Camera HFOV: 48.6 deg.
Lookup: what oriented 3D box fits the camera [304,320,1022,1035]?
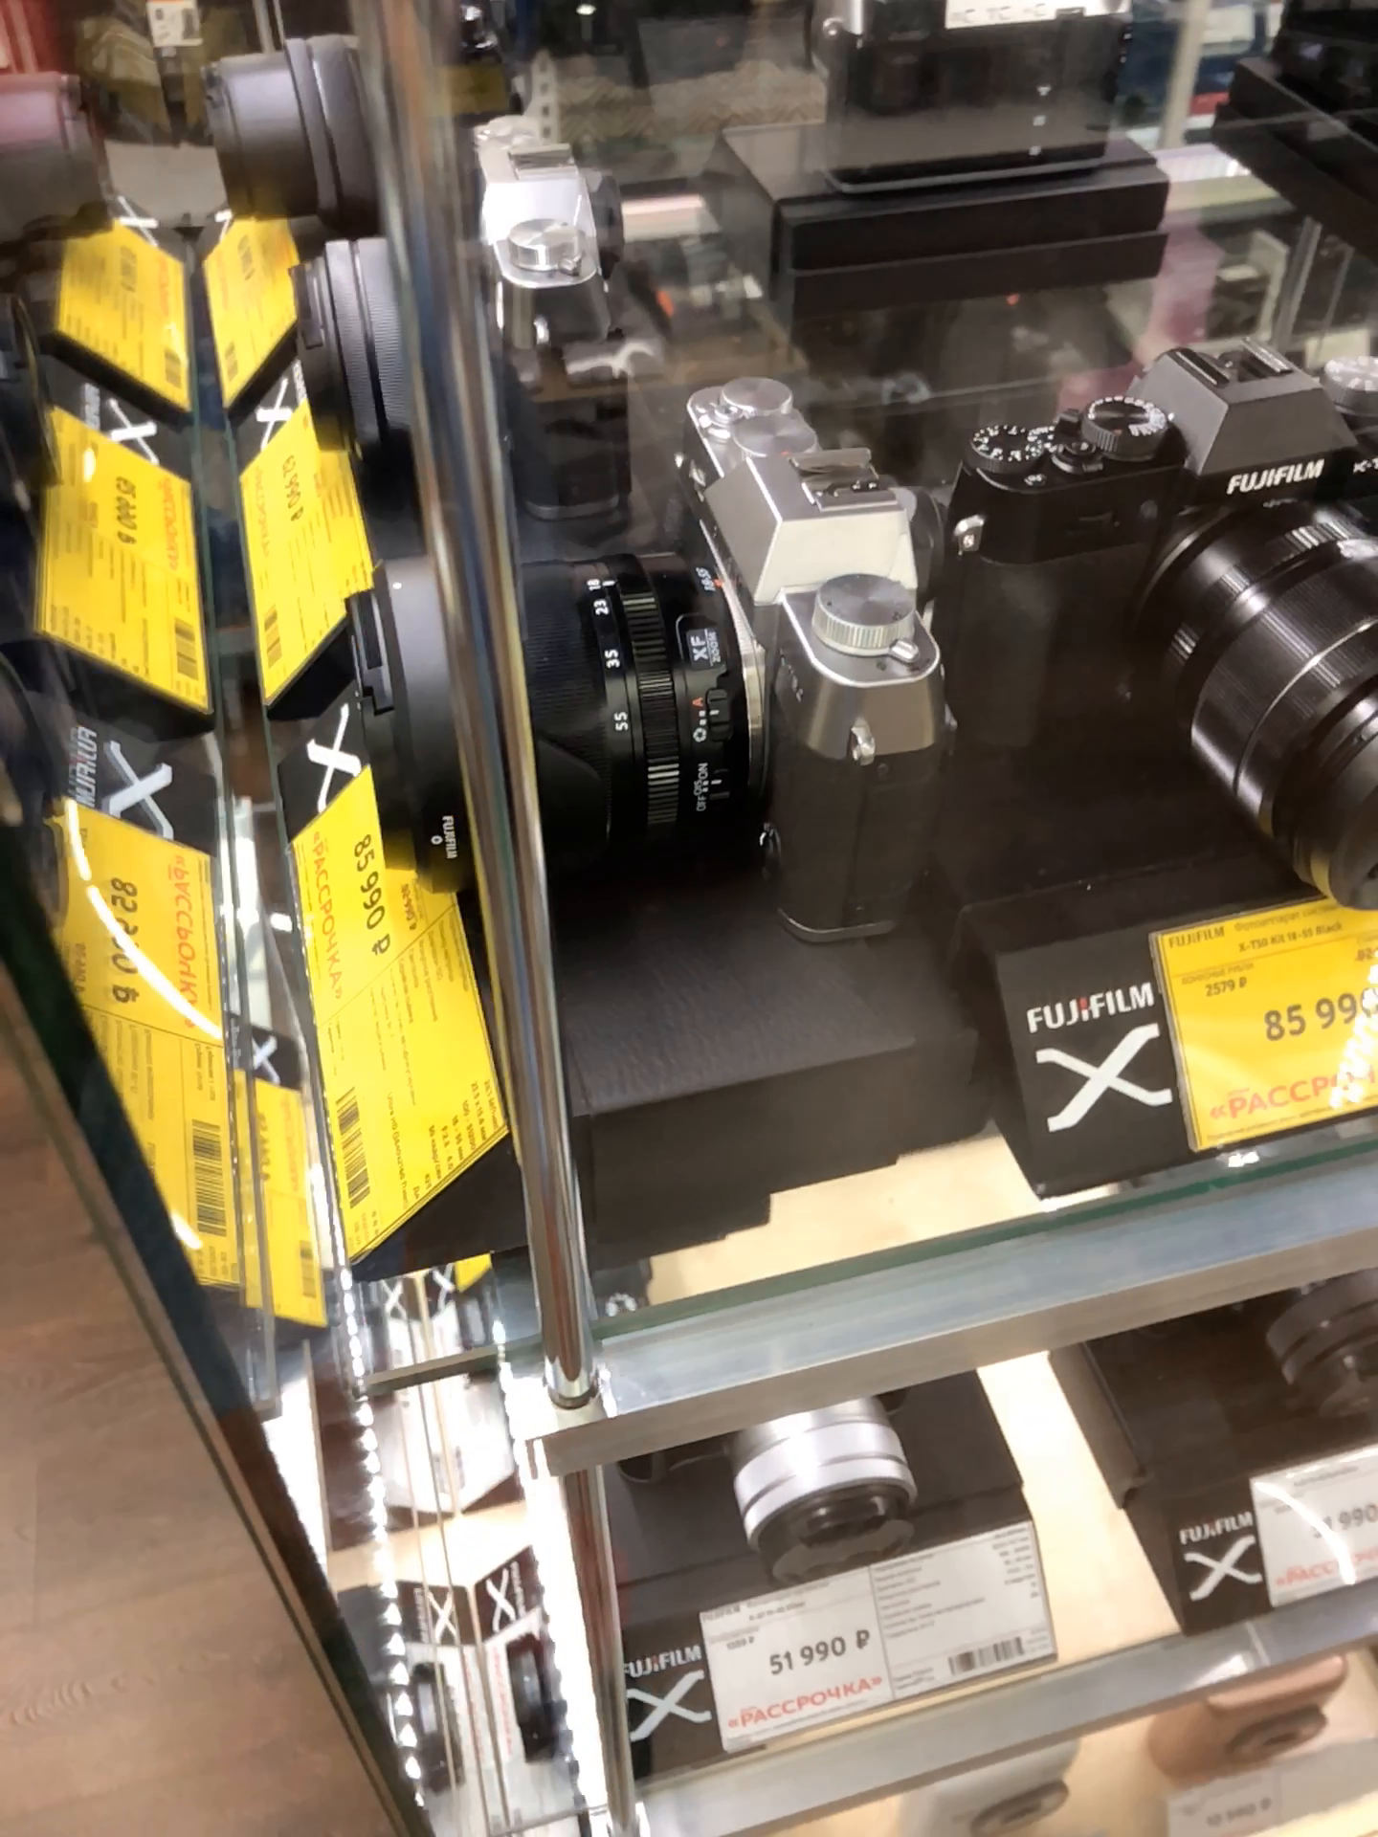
[{"bbox_3d":[-0.013,-0.059,0.342,0.120,0.088,0.121,-10,47,-11],"label":"camera"}]

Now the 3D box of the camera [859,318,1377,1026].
[{"bbox_3d":[0.133,-0.064,0.359,0.144,0.088,0.123,-11,47,-12],"label":"camera"}]

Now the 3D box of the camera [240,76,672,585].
[{"bbox_3d":[-0.072,-0.184,0.467,0.104,0.088,0.136,-10,47,-11],"label":"camera"}]
